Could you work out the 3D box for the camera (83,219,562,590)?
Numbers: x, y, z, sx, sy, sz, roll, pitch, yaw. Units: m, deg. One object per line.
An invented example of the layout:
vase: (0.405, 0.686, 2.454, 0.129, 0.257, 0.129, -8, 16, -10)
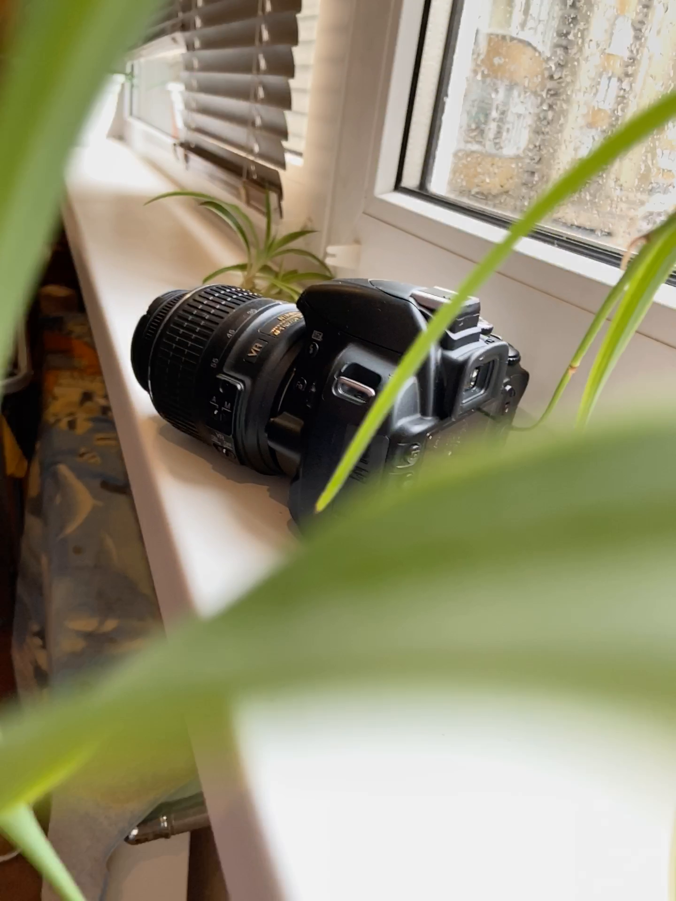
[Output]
camera: (-0.009, -0.038, 0.308, 0.159, 0.092, 0.122, 23, 29, 28)
